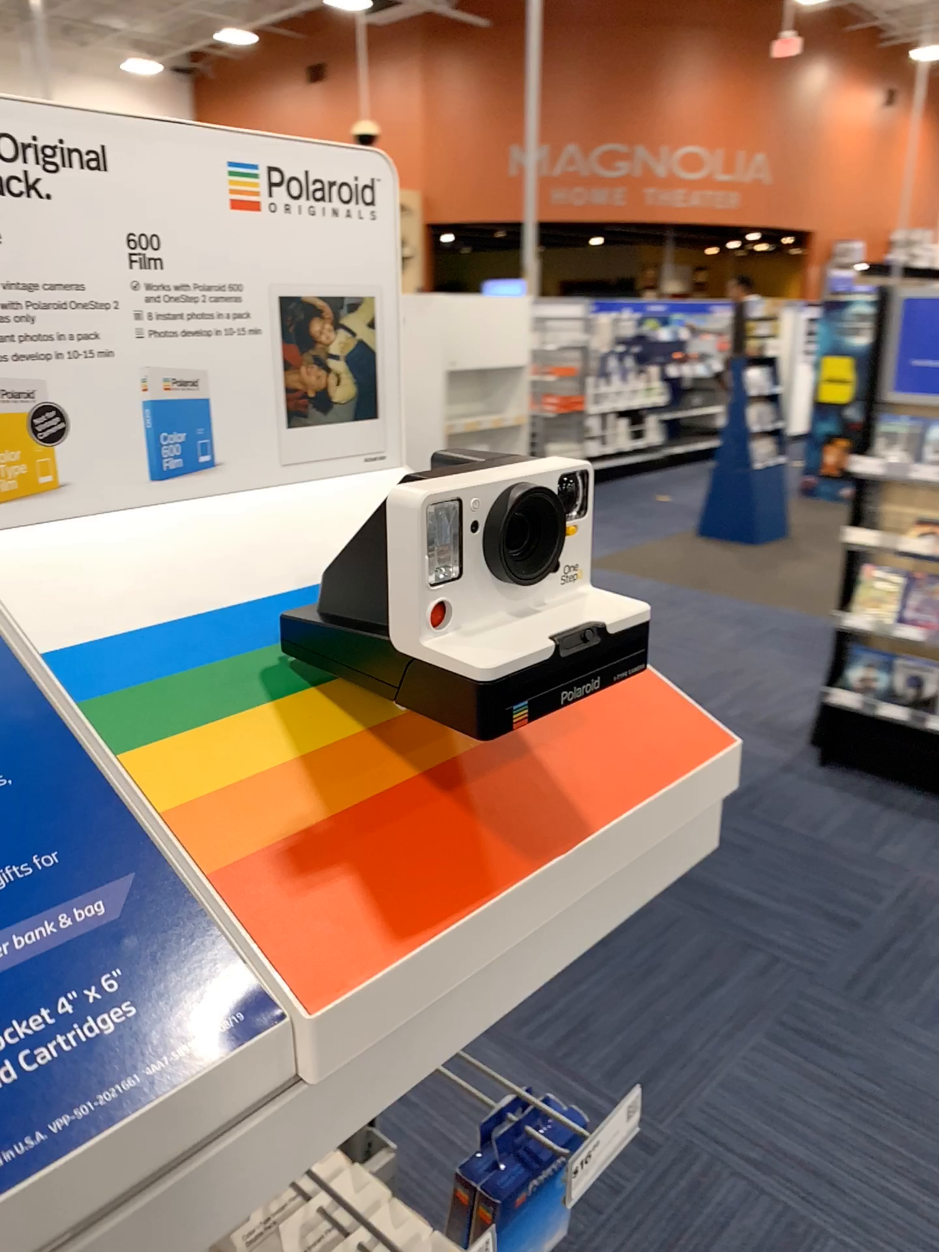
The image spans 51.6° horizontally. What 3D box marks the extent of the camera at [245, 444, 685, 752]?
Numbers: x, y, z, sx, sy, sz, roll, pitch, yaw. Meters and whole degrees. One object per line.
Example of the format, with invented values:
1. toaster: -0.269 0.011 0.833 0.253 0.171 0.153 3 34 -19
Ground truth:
1. camera: -0.003 -0.026 0.451 0.150 0.090 0.130 16 24 40
